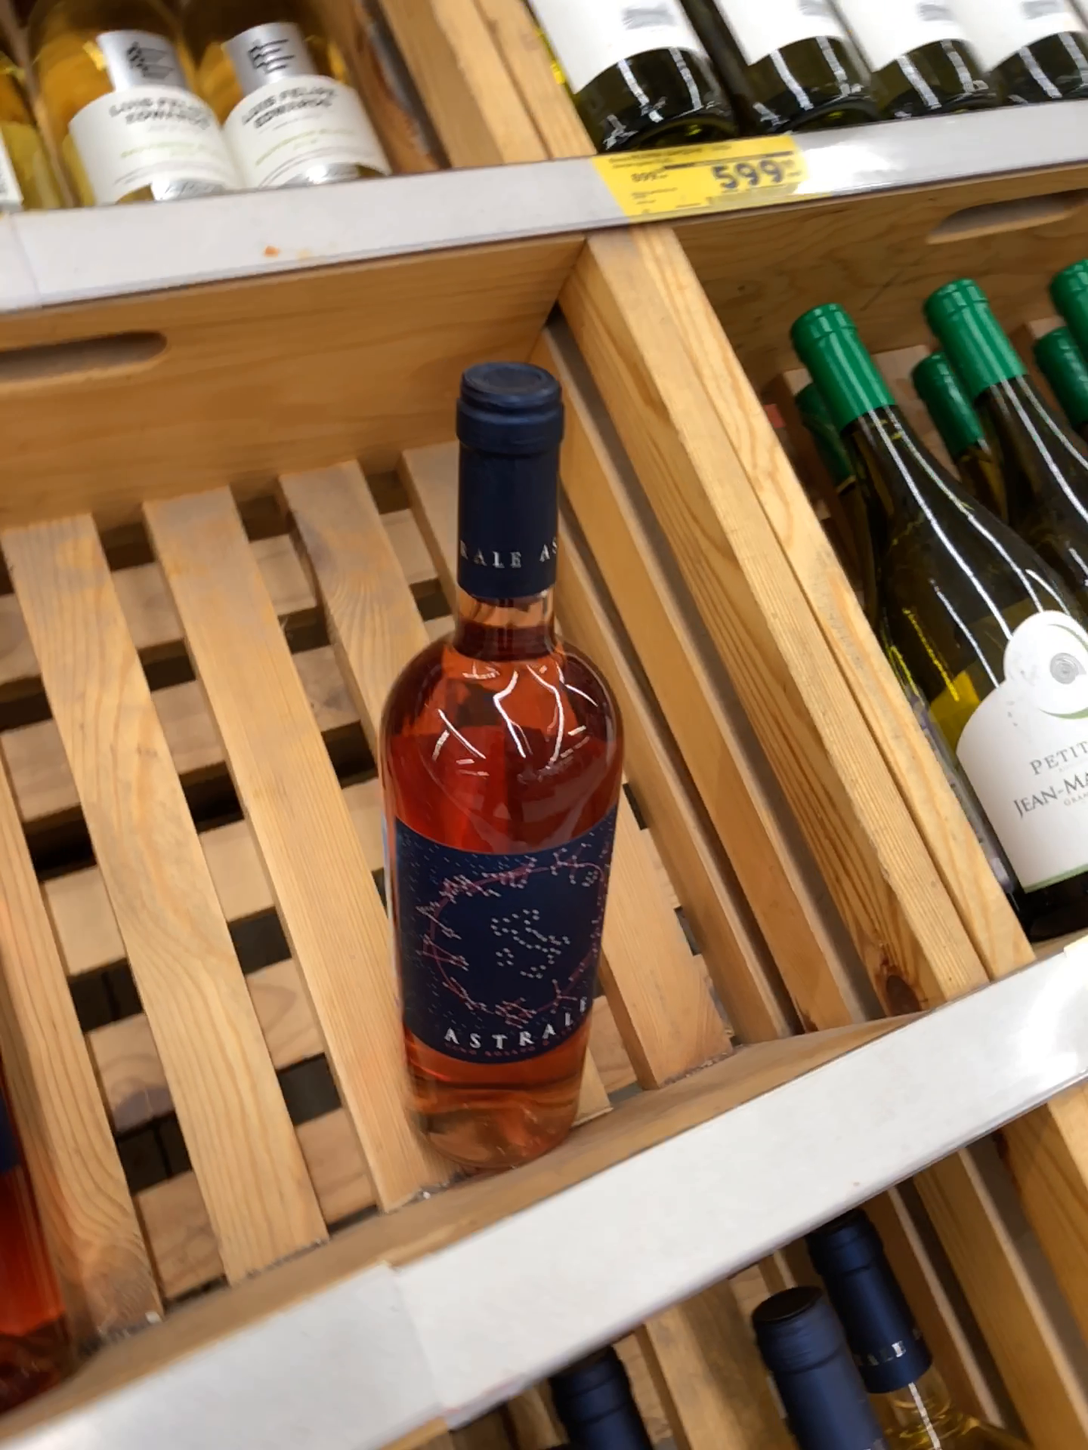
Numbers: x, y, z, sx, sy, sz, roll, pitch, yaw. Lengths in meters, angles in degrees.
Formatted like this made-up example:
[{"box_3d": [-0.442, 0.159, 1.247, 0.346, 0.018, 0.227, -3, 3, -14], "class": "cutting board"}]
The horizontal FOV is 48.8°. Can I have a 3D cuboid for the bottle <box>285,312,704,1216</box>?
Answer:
[{"box_3d": [-0.020, 0.029, 0.384, 0.080, 0.288, 0.080, 2, 37, -1], "class": "bottle"}]
